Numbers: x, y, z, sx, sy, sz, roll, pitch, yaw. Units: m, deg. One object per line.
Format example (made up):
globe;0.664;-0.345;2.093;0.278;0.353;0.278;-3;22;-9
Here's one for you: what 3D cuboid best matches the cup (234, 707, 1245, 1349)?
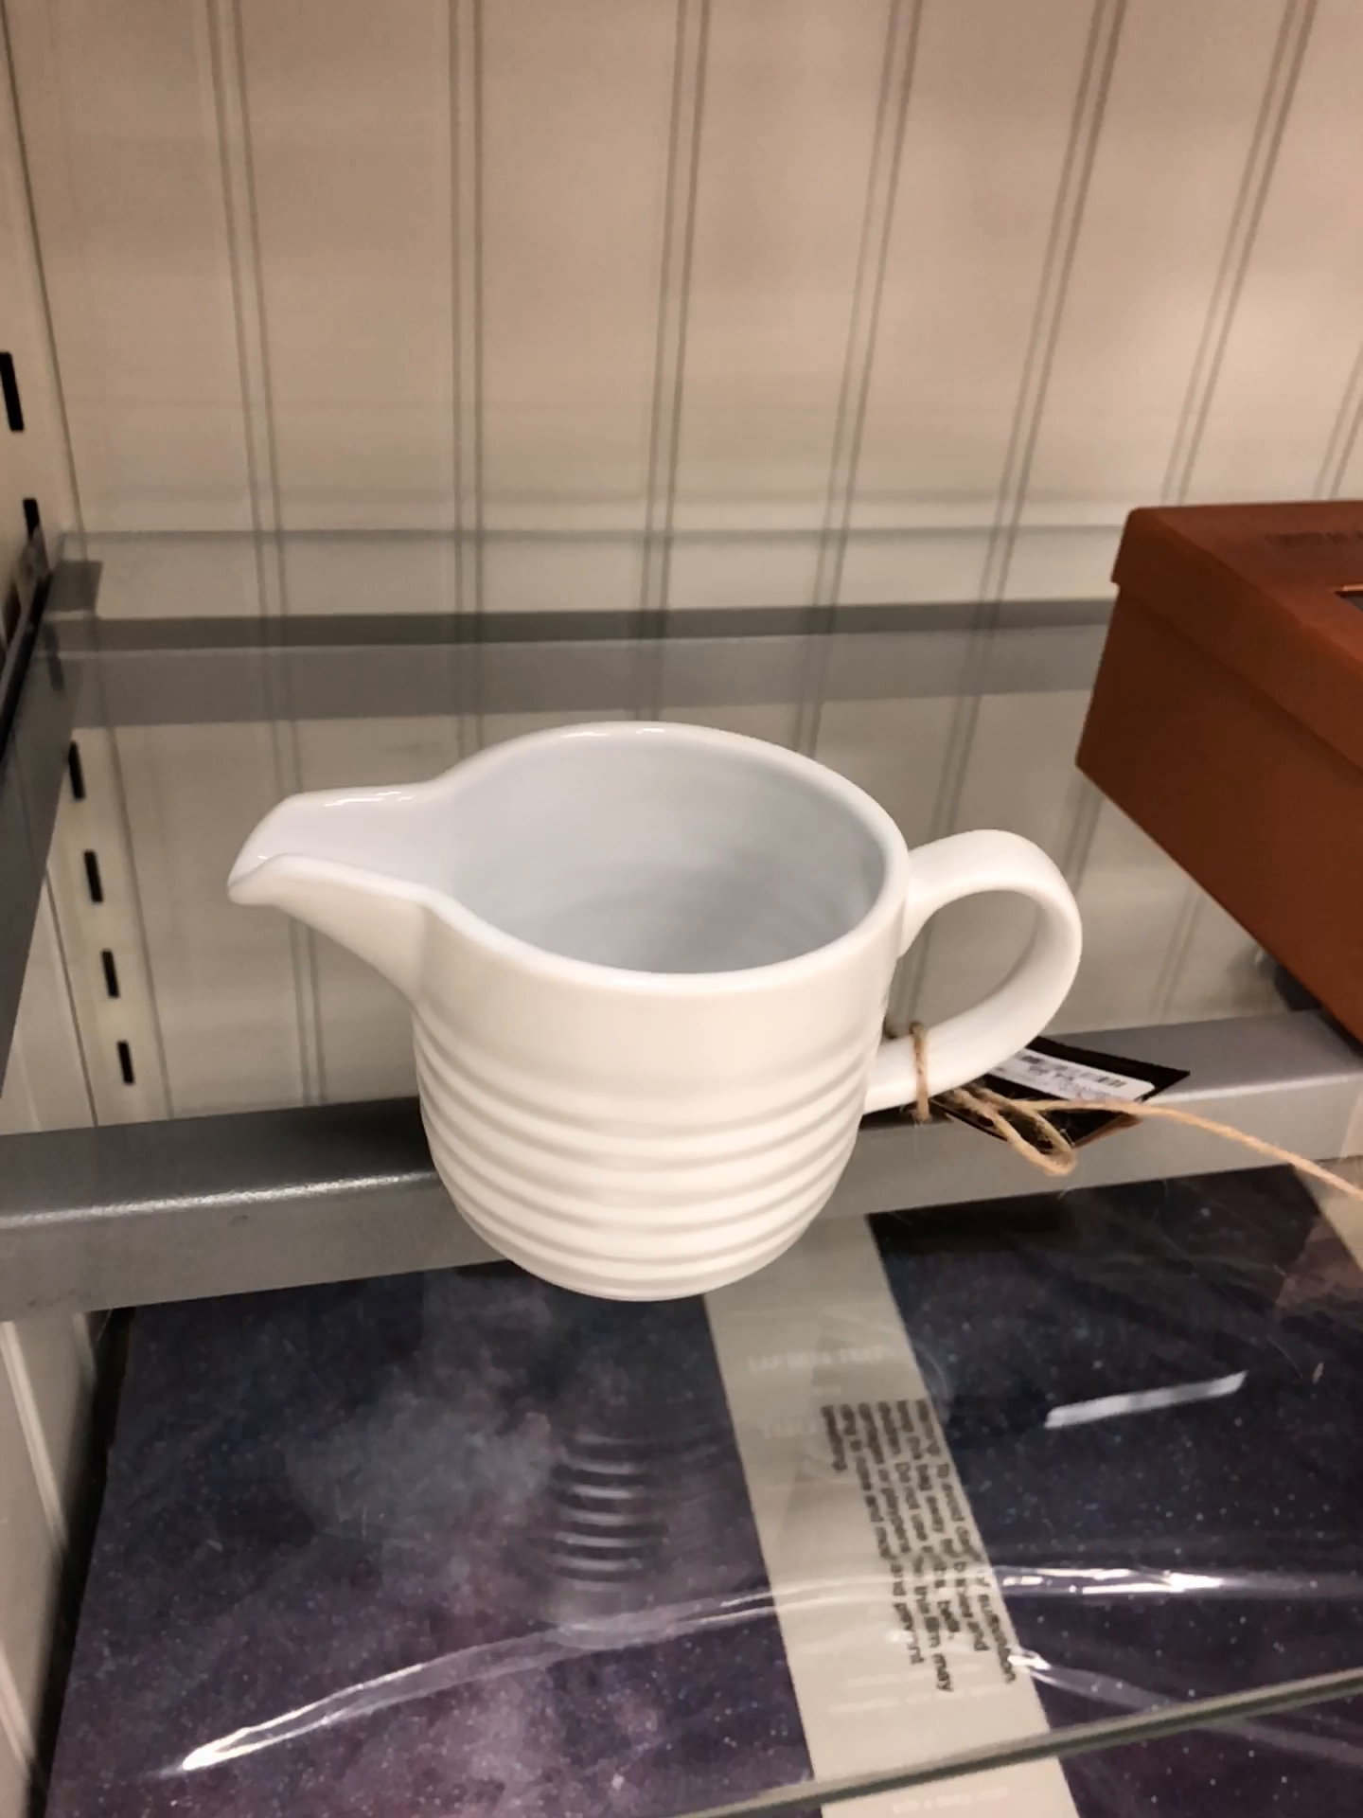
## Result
cup;0.003;0.015;0.253;0.140;0.069;0.071;-2;36;-11
